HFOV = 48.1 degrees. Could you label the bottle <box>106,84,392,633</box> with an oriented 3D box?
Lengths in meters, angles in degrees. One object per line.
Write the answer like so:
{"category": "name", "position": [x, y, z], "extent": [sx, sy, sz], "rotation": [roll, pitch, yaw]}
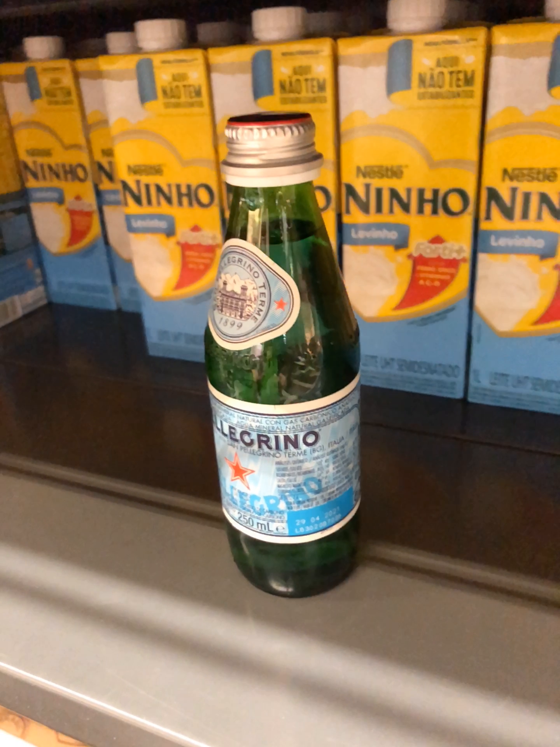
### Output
{"category": "bottle", "position": [-0.002, -0.003, 0.227], "extent": [0.060, 0.179, 0.060], "rotation": [-4, 28, 2]}
